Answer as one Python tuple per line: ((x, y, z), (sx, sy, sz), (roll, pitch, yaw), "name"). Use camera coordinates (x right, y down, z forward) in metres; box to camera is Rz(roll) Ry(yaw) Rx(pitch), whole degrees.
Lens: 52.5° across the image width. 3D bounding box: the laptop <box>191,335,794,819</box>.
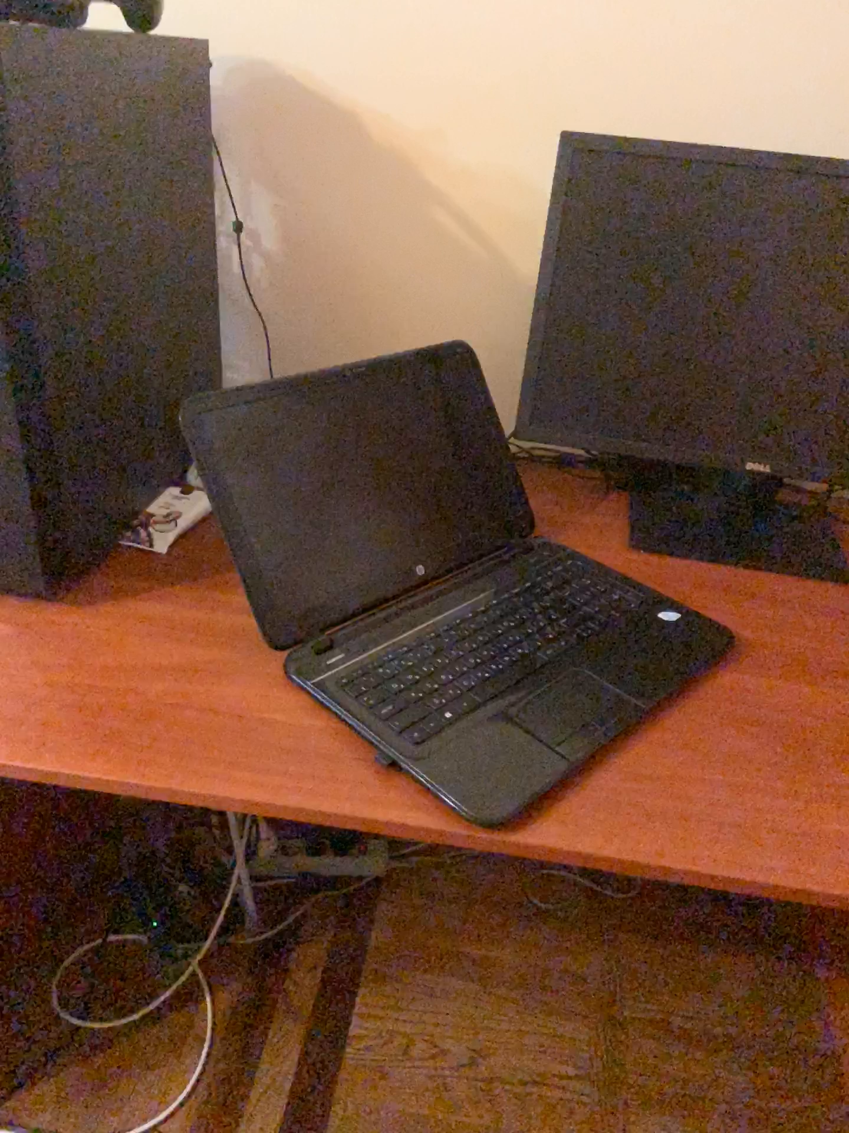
((0.050, -0.037, 0.733), (0.333, 0.168, 0.359), (-23, 43, -40), "laptop")
